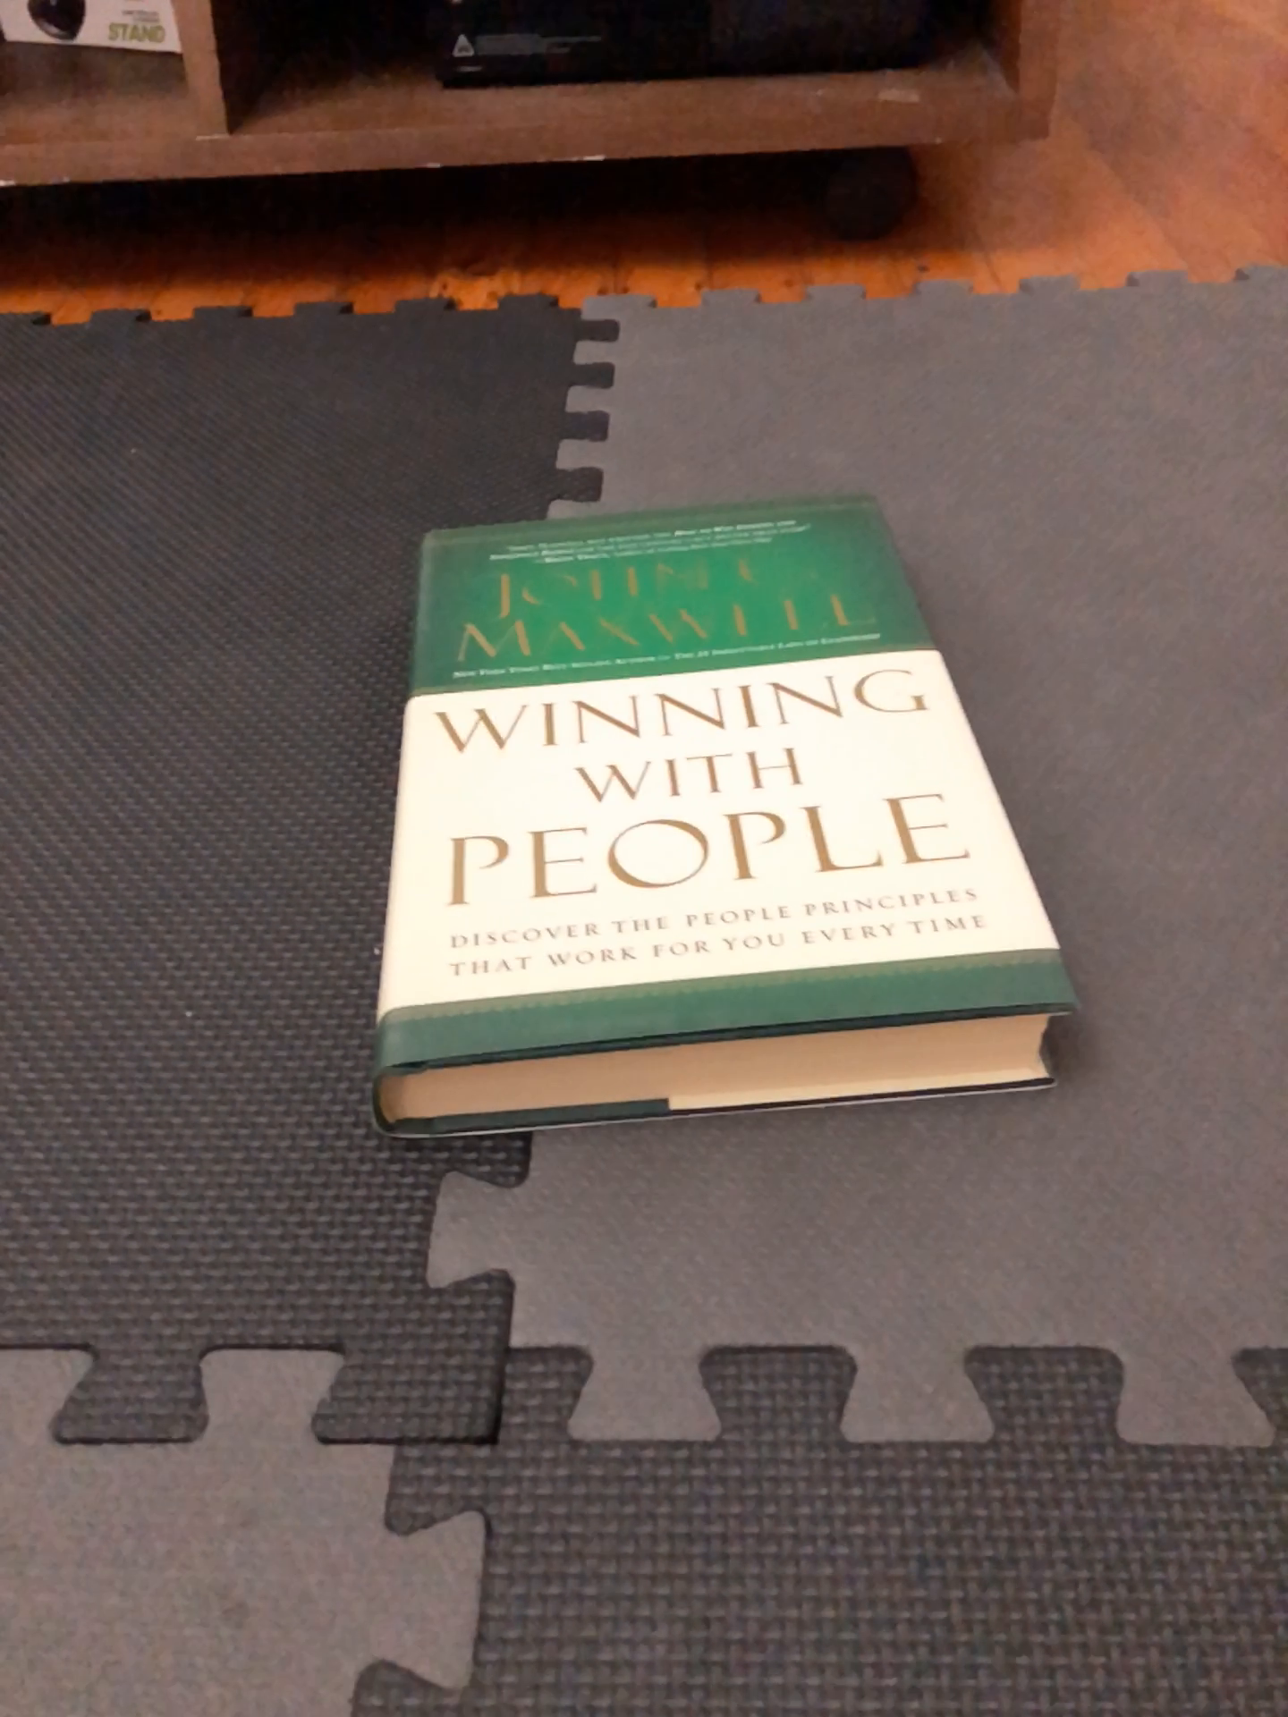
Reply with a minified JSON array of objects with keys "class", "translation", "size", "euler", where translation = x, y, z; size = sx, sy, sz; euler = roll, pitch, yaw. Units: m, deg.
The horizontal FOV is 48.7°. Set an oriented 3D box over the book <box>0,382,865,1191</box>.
[{"class":"book","translation":[-0.063,-0.047,0.380],"size":[0.200,0.030,0.292],"euler":[-3,41,1]}]
